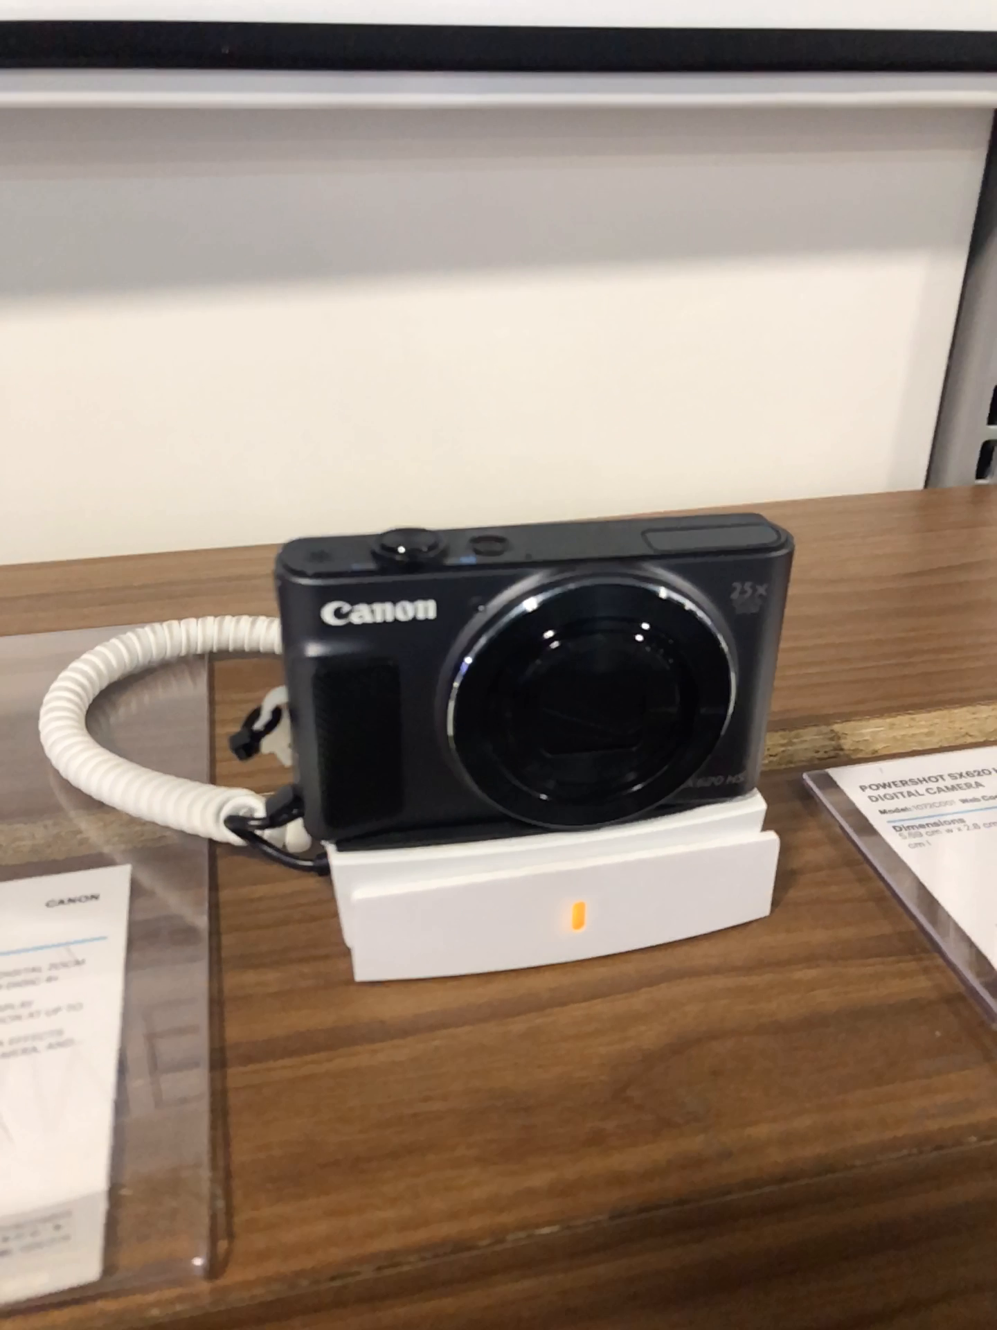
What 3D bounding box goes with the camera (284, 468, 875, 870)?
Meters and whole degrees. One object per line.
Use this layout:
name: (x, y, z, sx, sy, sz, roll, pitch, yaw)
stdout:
camera: (0.013, -0.001, 0.208, 0.100, 0.060, 0.030, -5, 27, -11)
